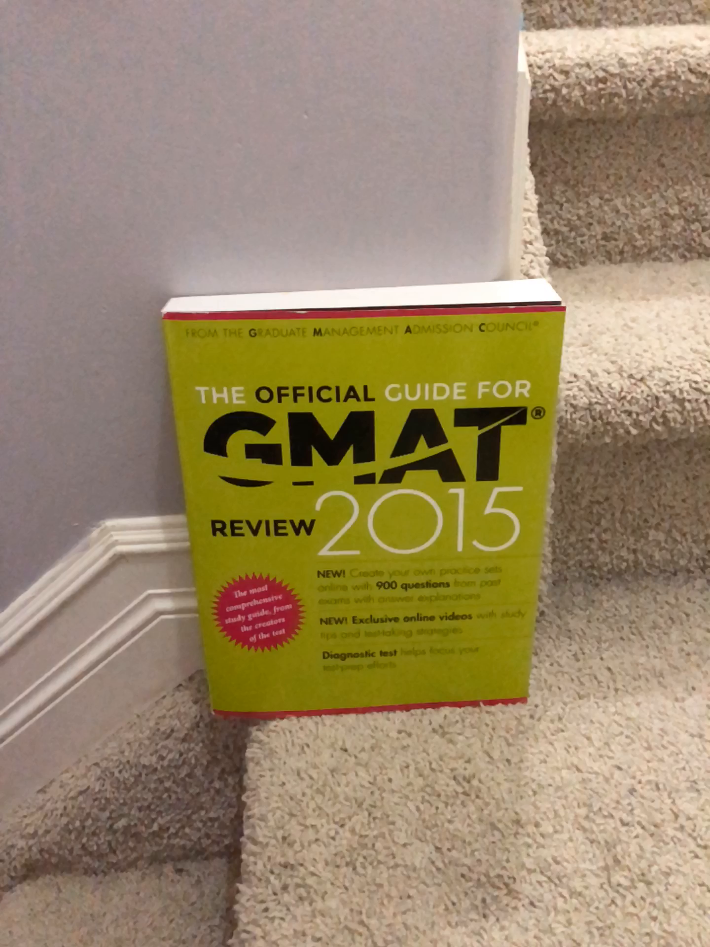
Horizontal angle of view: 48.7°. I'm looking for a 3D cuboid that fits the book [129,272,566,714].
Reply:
[{"bbox_3d":[0.002,0.023,0.497,0.235,0.277,0.040,-3,24,0],"label":"book"}]
